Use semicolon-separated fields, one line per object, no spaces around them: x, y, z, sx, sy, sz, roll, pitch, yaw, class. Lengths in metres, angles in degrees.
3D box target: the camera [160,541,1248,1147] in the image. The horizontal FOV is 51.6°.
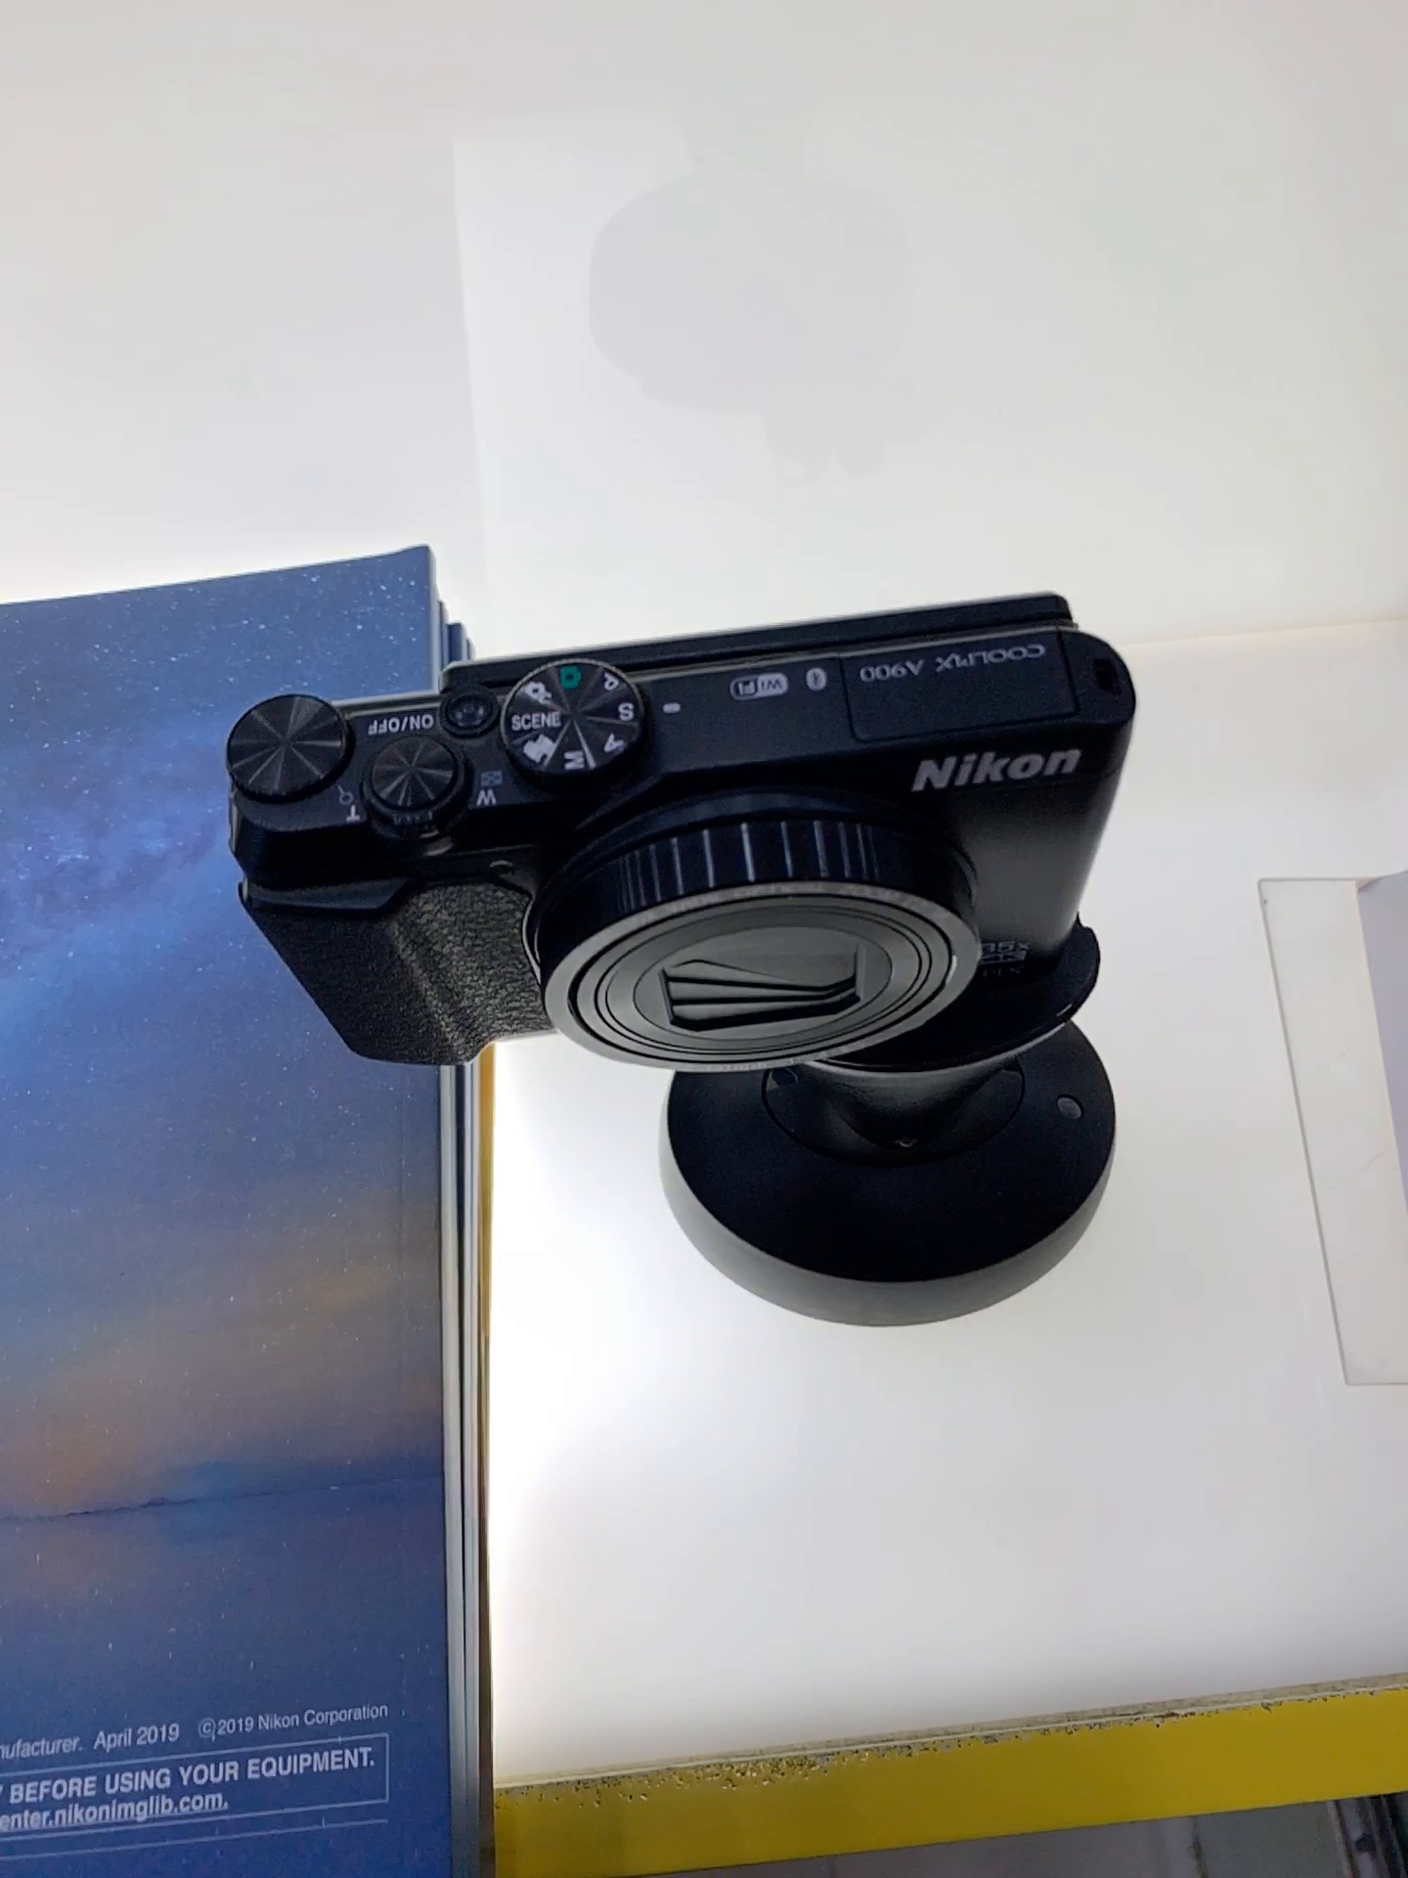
-0.001;-0.009;0.195;0.120;0.060;0.040;-8;63;-2;camera
